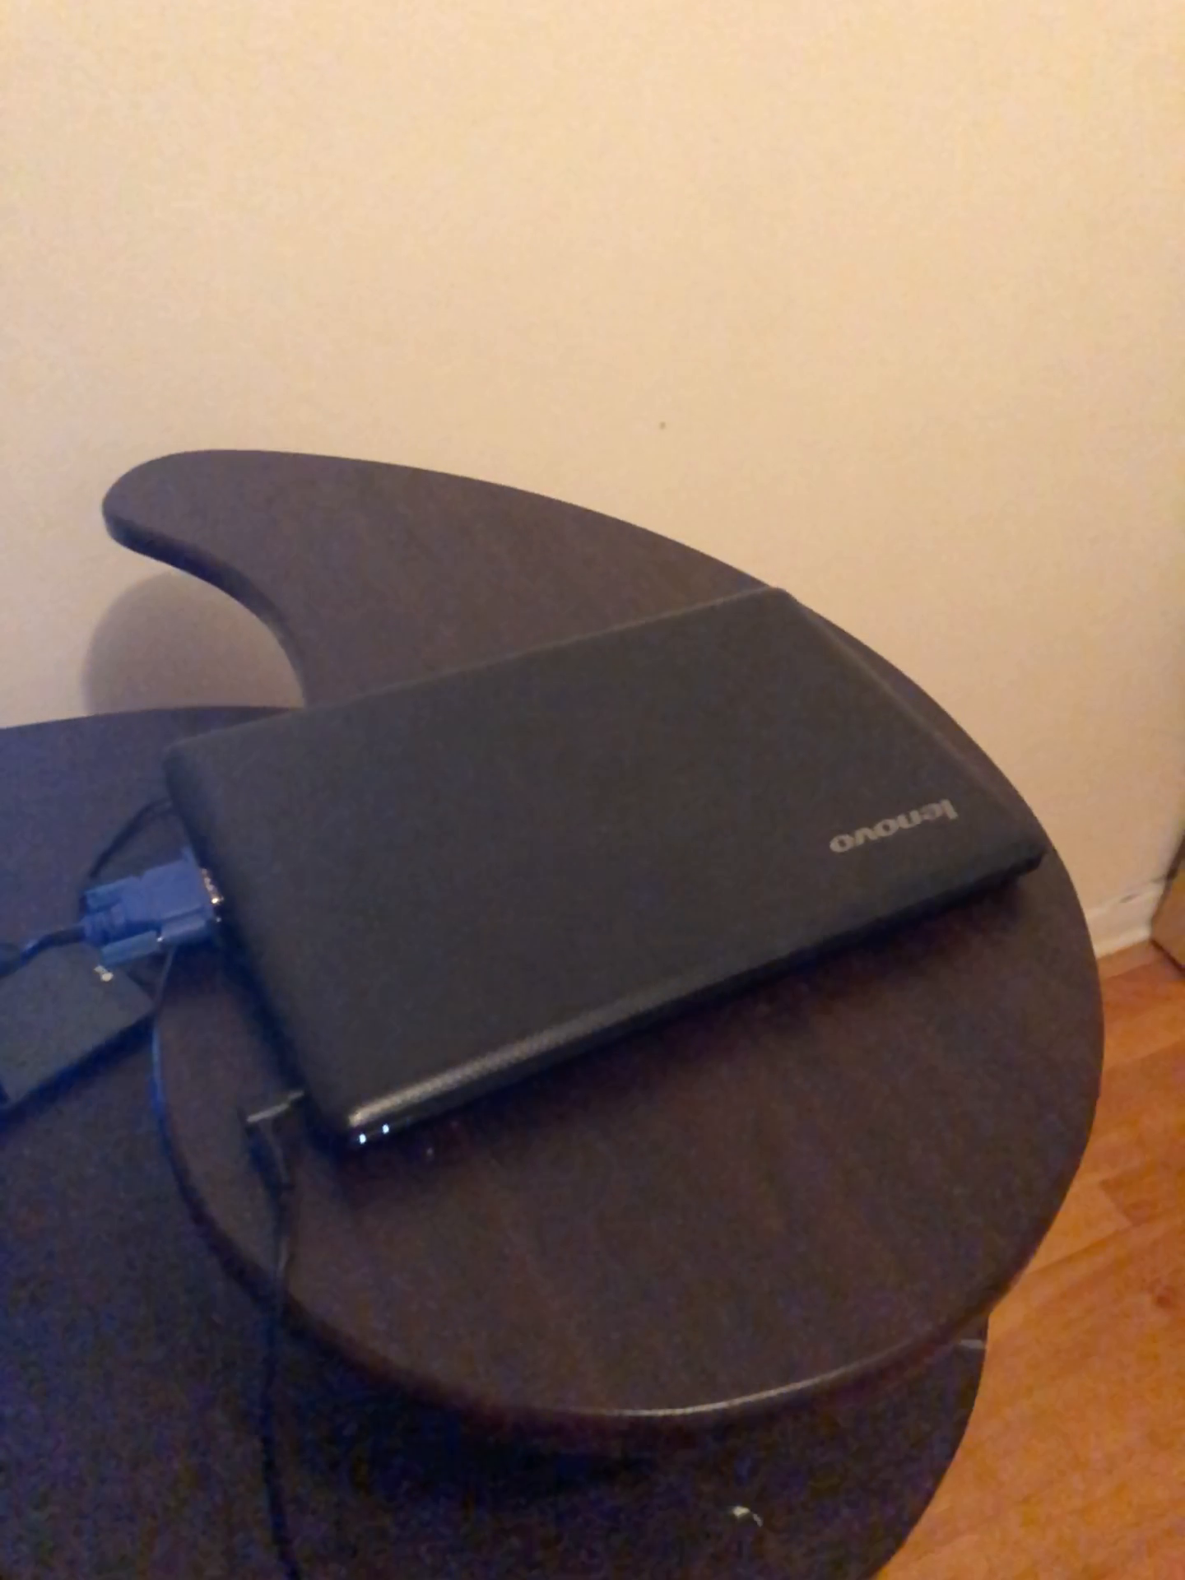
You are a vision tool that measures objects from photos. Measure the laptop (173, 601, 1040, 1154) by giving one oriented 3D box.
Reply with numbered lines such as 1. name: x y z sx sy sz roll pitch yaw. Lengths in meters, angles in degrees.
1. laptop: 0.003 0.010 0.470 0.259 0.008 0.173 -18 46 -22
